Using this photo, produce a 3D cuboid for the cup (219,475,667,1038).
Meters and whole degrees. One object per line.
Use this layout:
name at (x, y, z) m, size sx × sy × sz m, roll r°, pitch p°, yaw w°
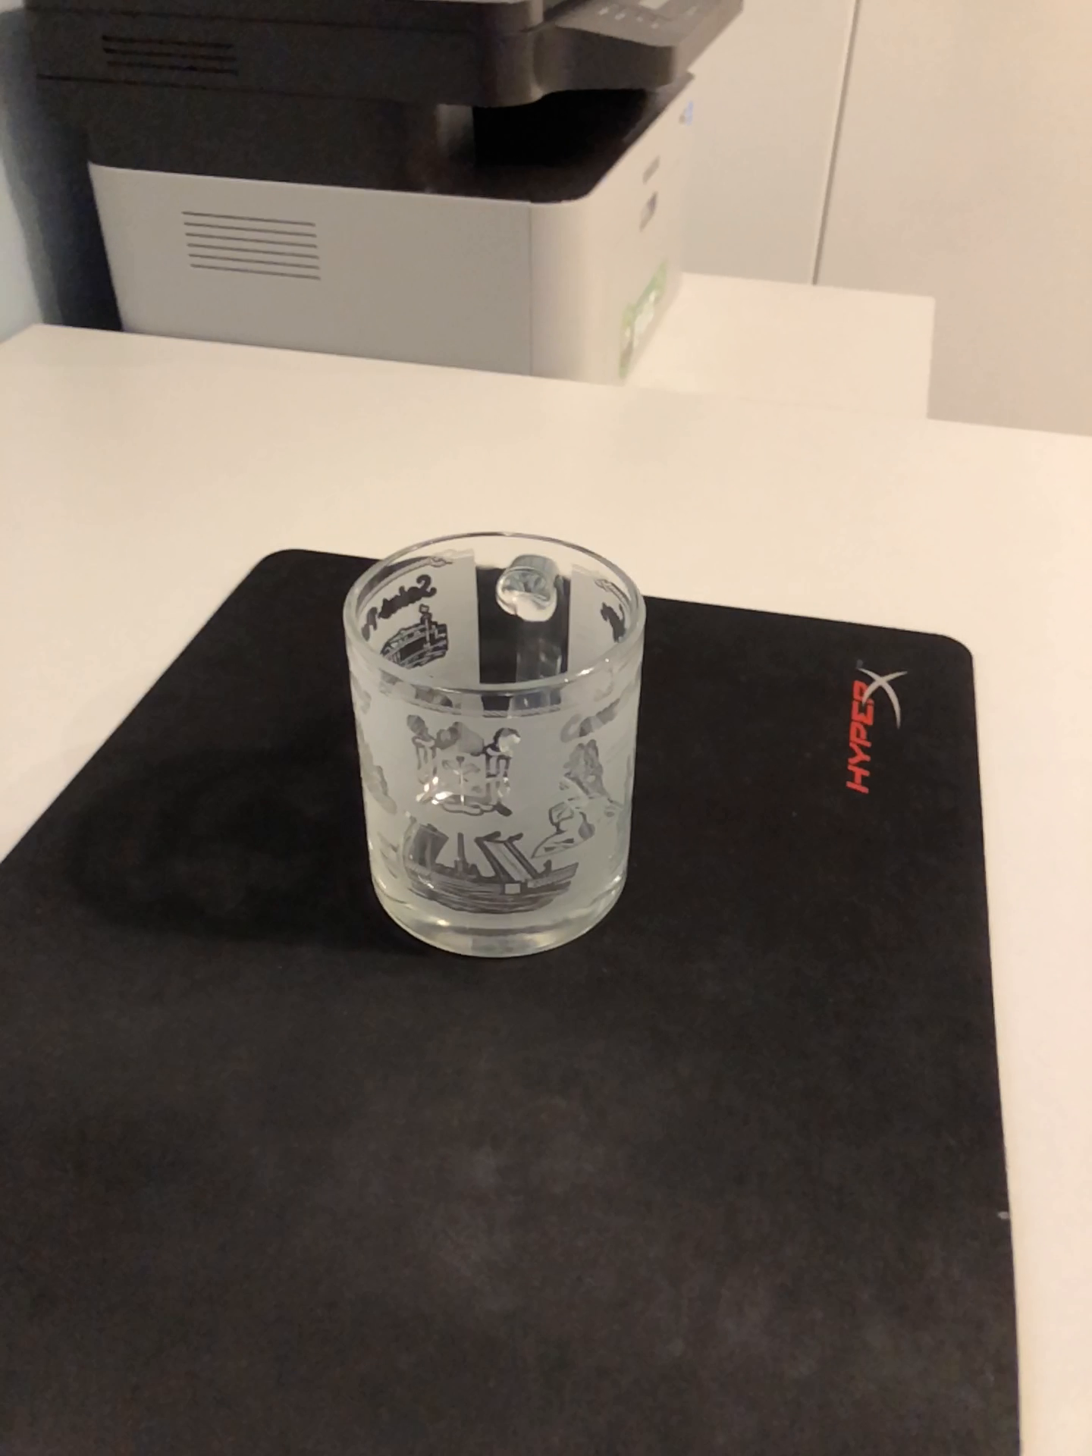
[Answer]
cup at (-0.022, 0.004, 0.362) m, size 0.090 × 0.106 × 0.117 m, roll 10°, pitch 38°, yaw 11°
